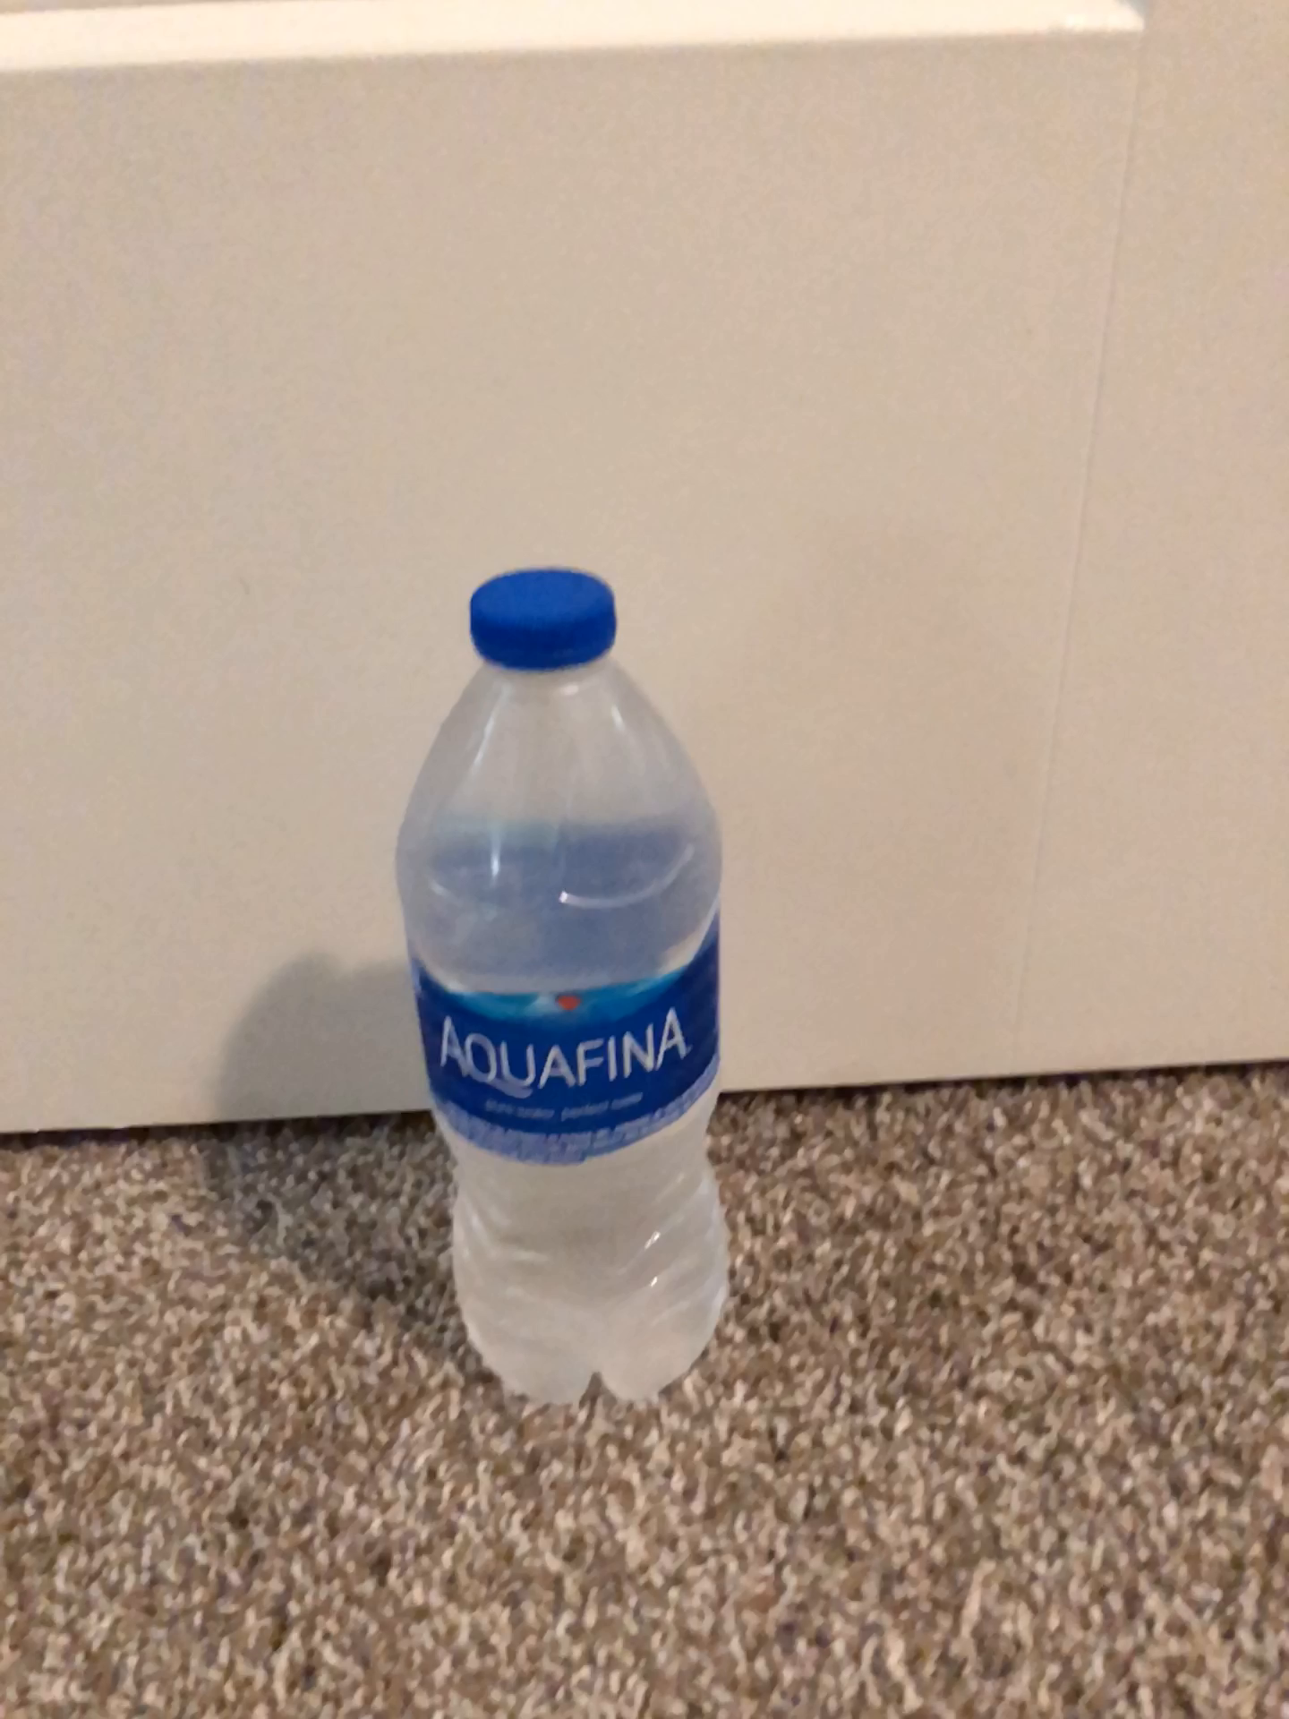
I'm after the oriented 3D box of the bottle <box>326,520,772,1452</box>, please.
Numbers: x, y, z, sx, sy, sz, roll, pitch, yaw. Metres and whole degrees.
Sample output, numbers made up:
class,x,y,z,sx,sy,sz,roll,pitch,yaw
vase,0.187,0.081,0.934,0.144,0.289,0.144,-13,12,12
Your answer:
class,x,y,z,sx,sy,sz,roll,pitch,yaw
bottle,-0.013,0.033,0.304,0.070,0.189,0.070,-1,31,1
